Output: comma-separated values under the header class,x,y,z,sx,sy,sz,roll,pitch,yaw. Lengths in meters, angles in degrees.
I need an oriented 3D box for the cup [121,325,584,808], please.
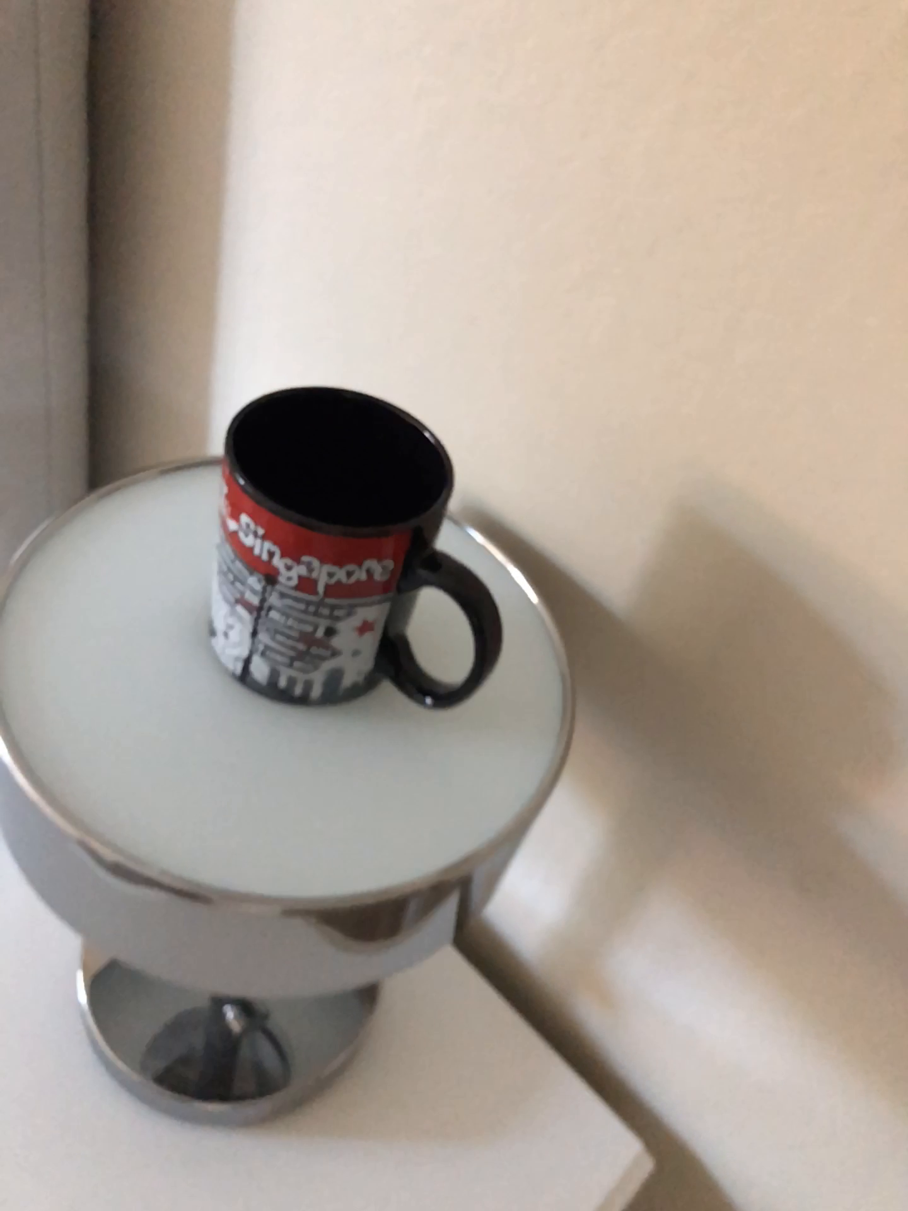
class,x,y,z,sx,sy,sz,roll,pitch,yaw
cup,-0.042,-0.017,0.382,0.130,0.099,0.090,32,45,13
